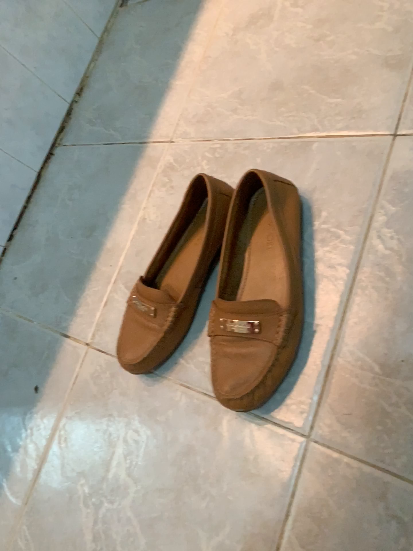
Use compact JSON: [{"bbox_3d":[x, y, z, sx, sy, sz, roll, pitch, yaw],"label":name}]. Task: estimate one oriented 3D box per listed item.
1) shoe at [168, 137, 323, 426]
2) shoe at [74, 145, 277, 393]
[{"bbox_3d":[0.043,0.003,0.392,0.085,0.071,0.243,-1,70,34],"label":"shoe"},{"bbox_3d":[-0.032,-0.008,0.451,0.083,0.071,0.243,29,88,39],"label":"shoe"}]
